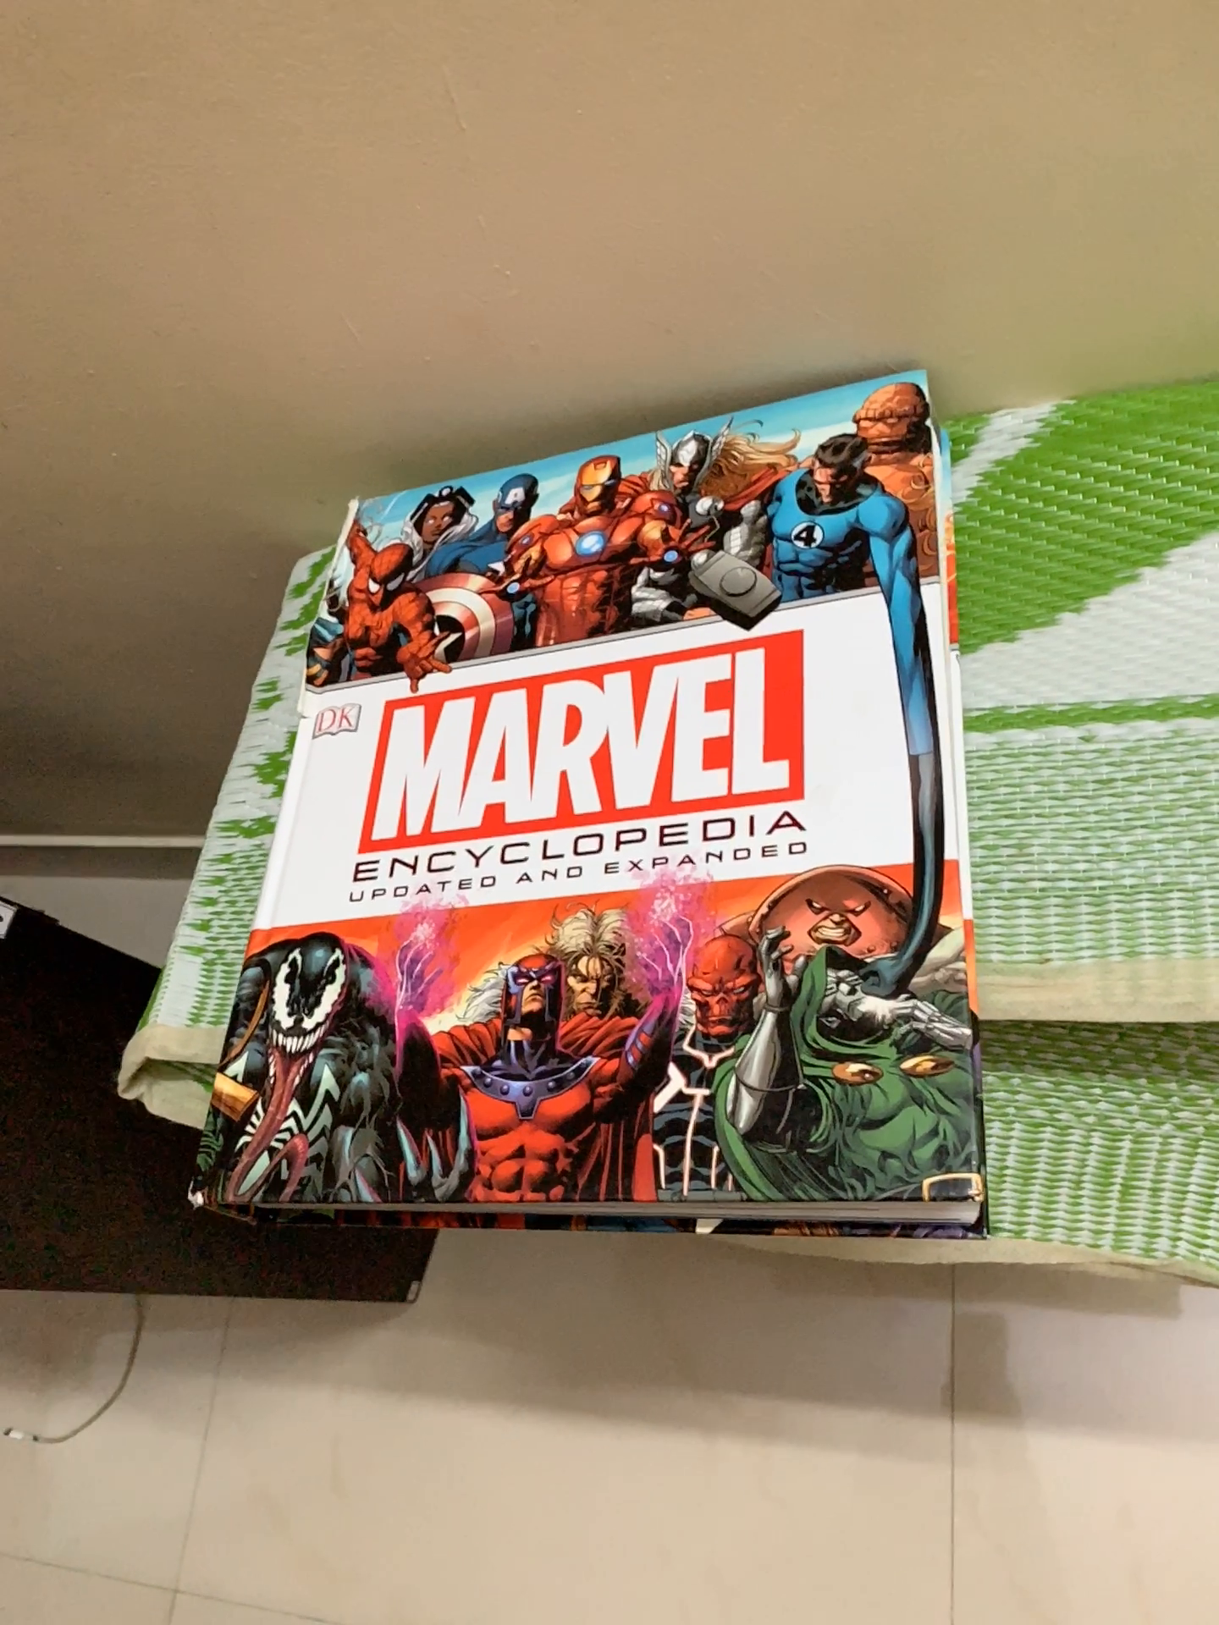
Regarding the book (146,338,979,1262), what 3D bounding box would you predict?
[{"bbox_3d":[-0.012,-0.012,0.456,0.260,0.040,0.321,-6,60,21],"label":"book"}]
